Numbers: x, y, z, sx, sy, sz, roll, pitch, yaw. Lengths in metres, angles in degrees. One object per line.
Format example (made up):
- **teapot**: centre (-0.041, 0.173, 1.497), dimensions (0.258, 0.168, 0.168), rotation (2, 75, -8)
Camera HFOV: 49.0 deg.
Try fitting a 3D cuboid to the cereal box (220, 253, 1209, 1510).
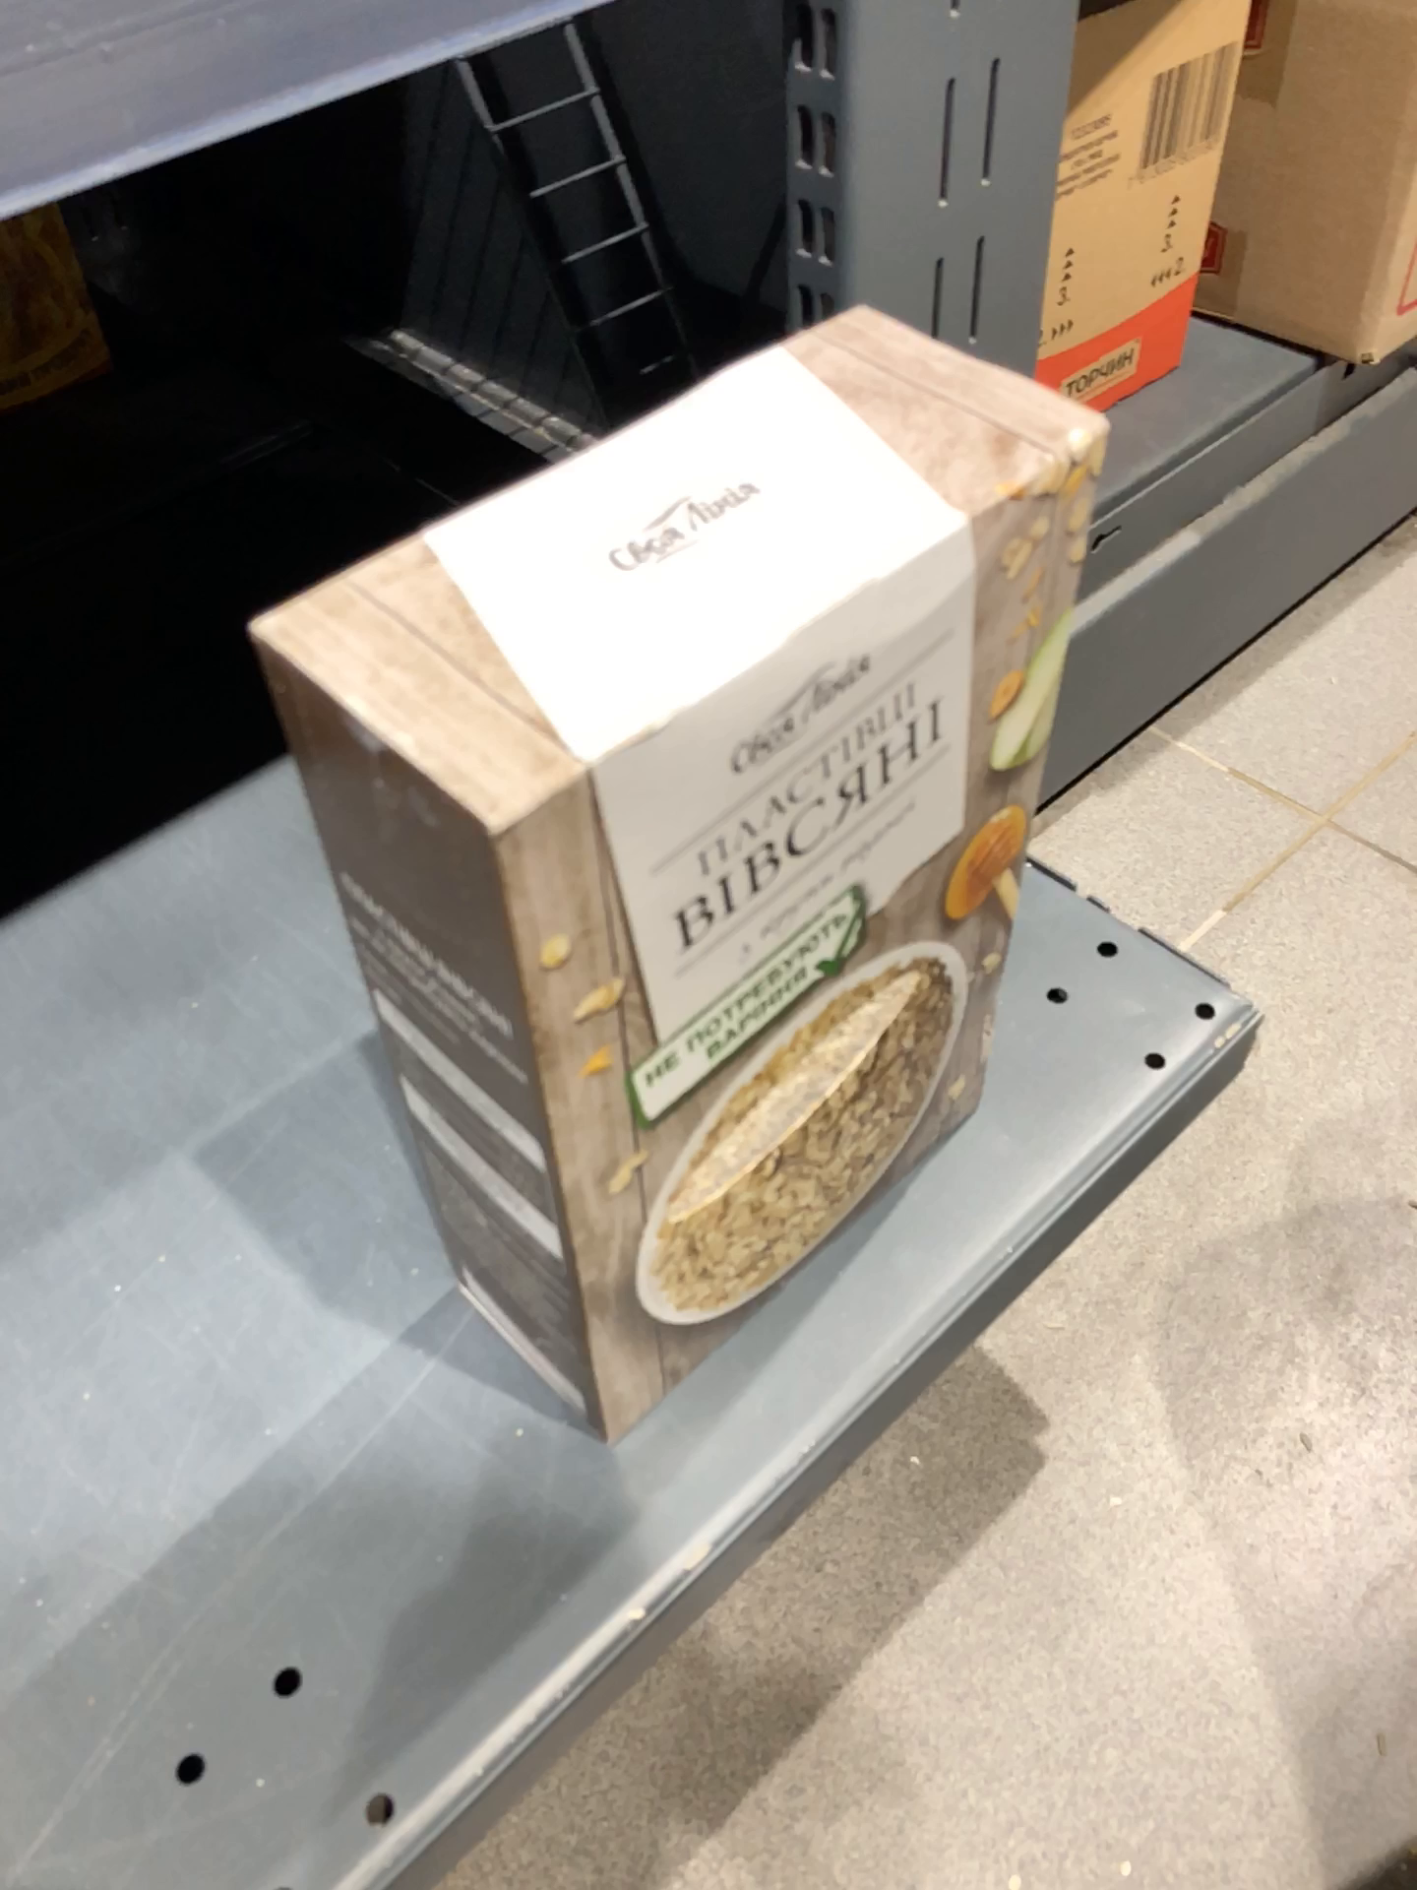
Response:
- **cereal box**: centre (0.008, 0.001, 0.333), dimensions (0.151, 0.228, 0.070), rotation (-36, 58, -26)
